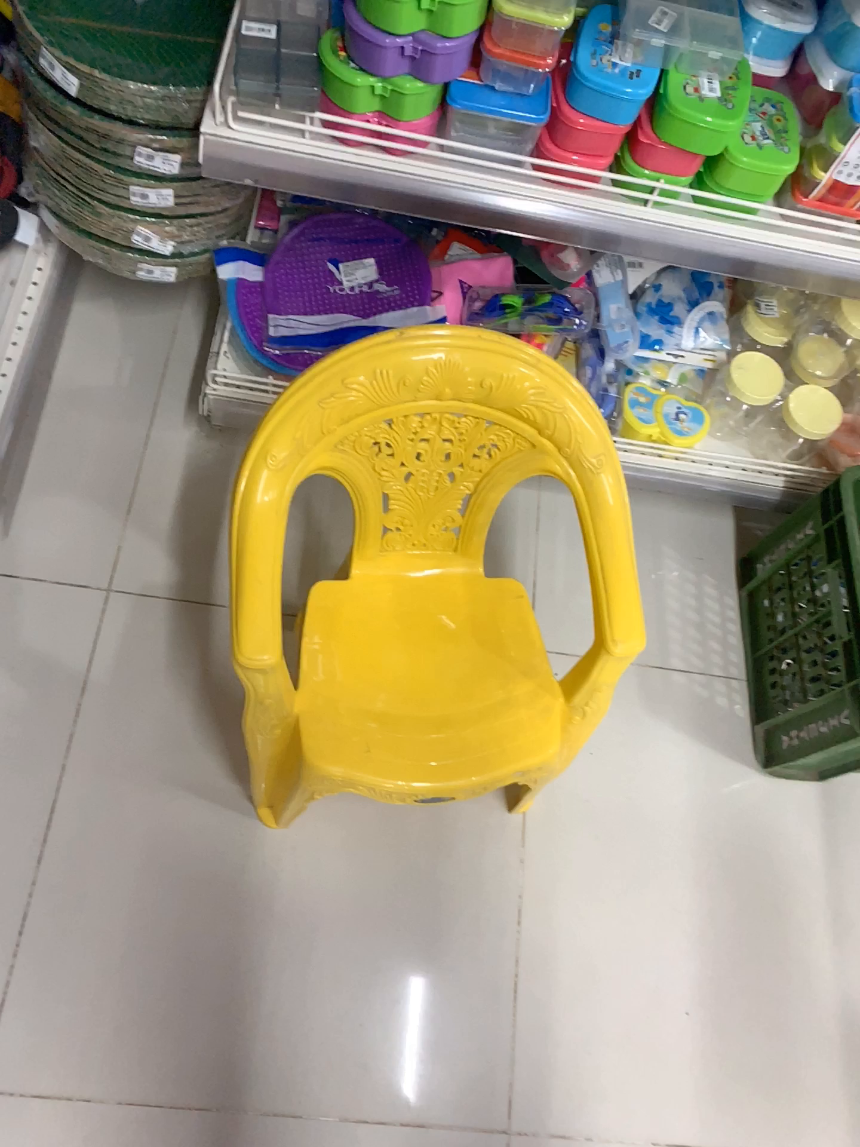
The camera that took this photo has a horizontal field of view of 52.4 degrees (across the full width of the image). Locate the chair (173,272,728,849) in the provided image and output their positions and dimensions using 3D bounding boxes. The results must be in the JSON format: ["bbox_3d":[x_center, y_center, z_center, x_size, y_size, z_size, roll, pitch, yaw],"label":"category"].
[{"bbox_3d":[-0.020,0.026,0.942,0.420,0.450,0.460,0,68,-9],"label":"chair"}]
